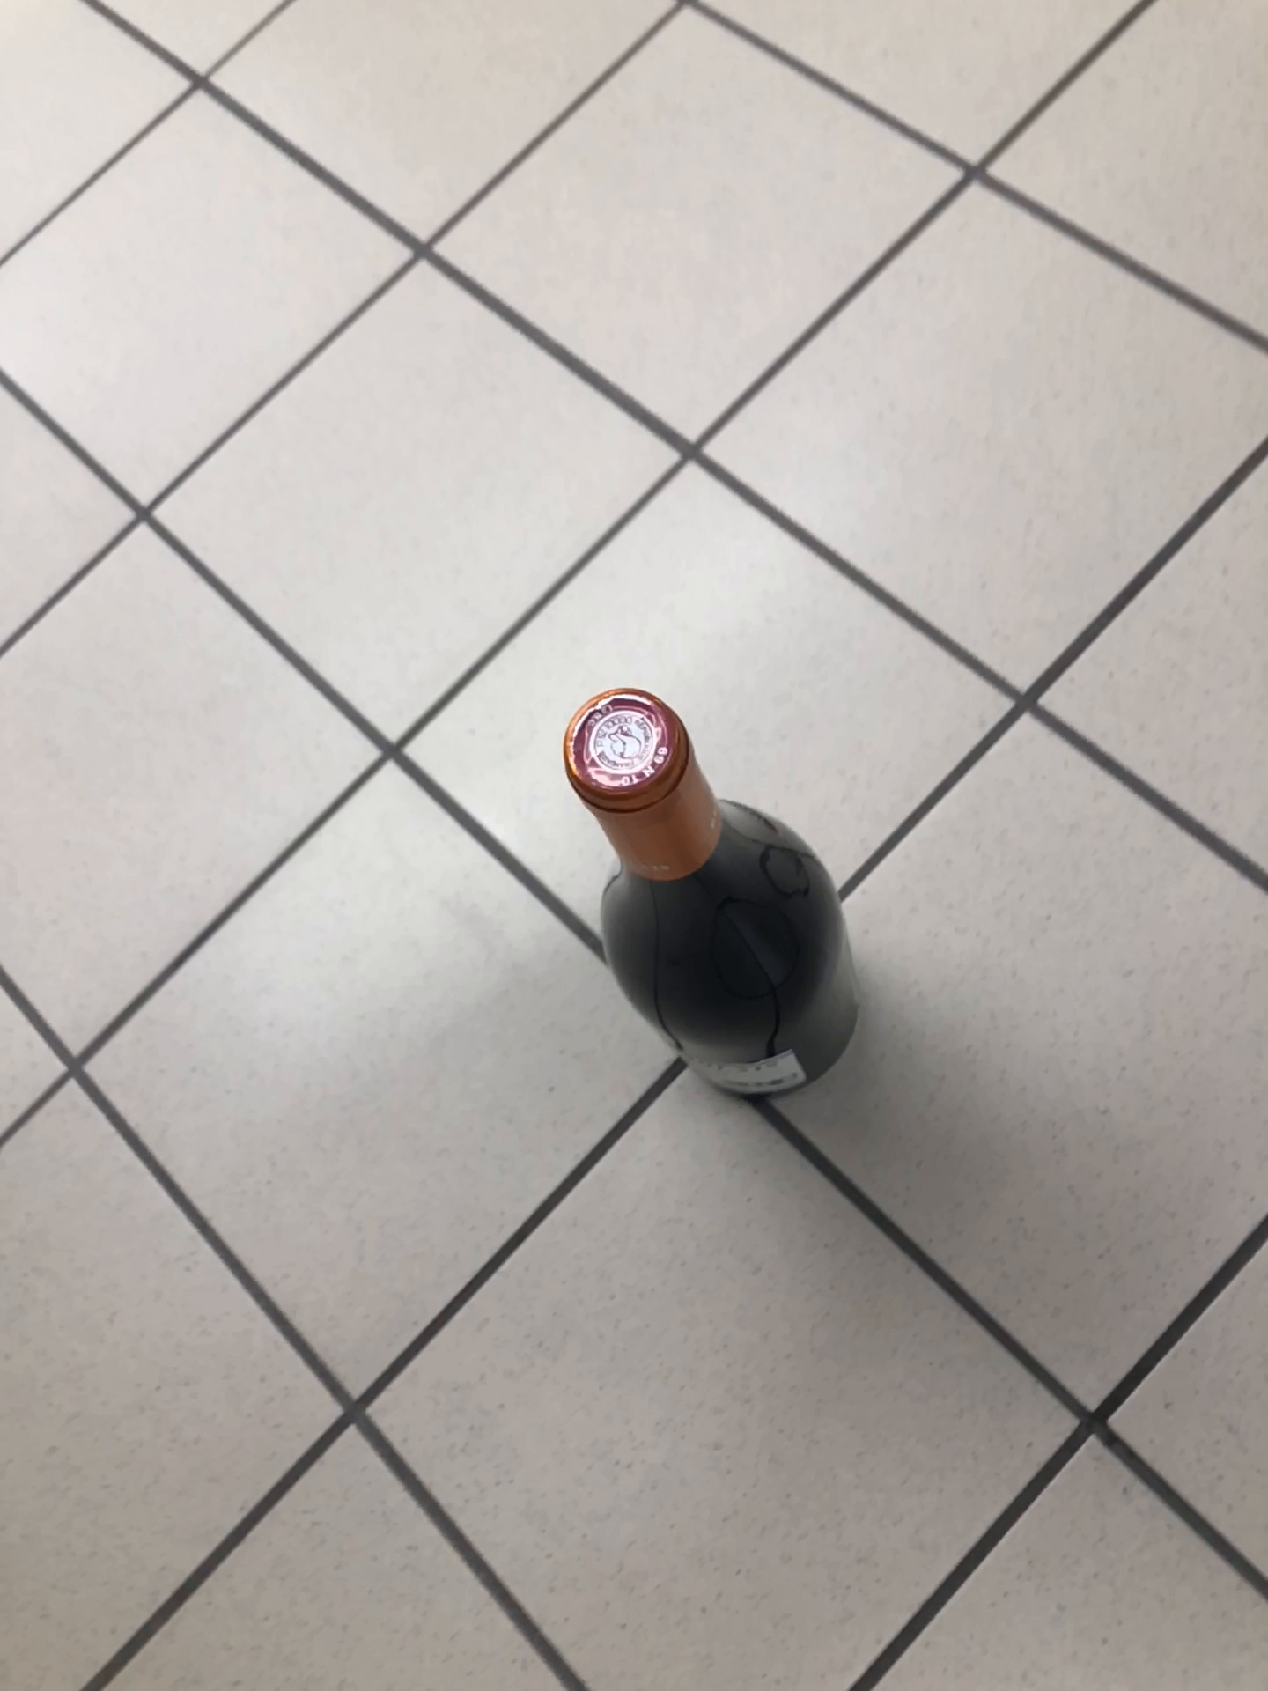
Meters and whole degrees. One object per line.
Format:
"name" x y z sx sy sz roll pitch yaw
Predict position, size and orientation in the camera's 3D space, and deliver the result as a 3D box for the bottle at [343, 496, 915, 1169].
"bottle" 0.024 0.023 0.445 0.090 0.290 0.090 -4 70 11
